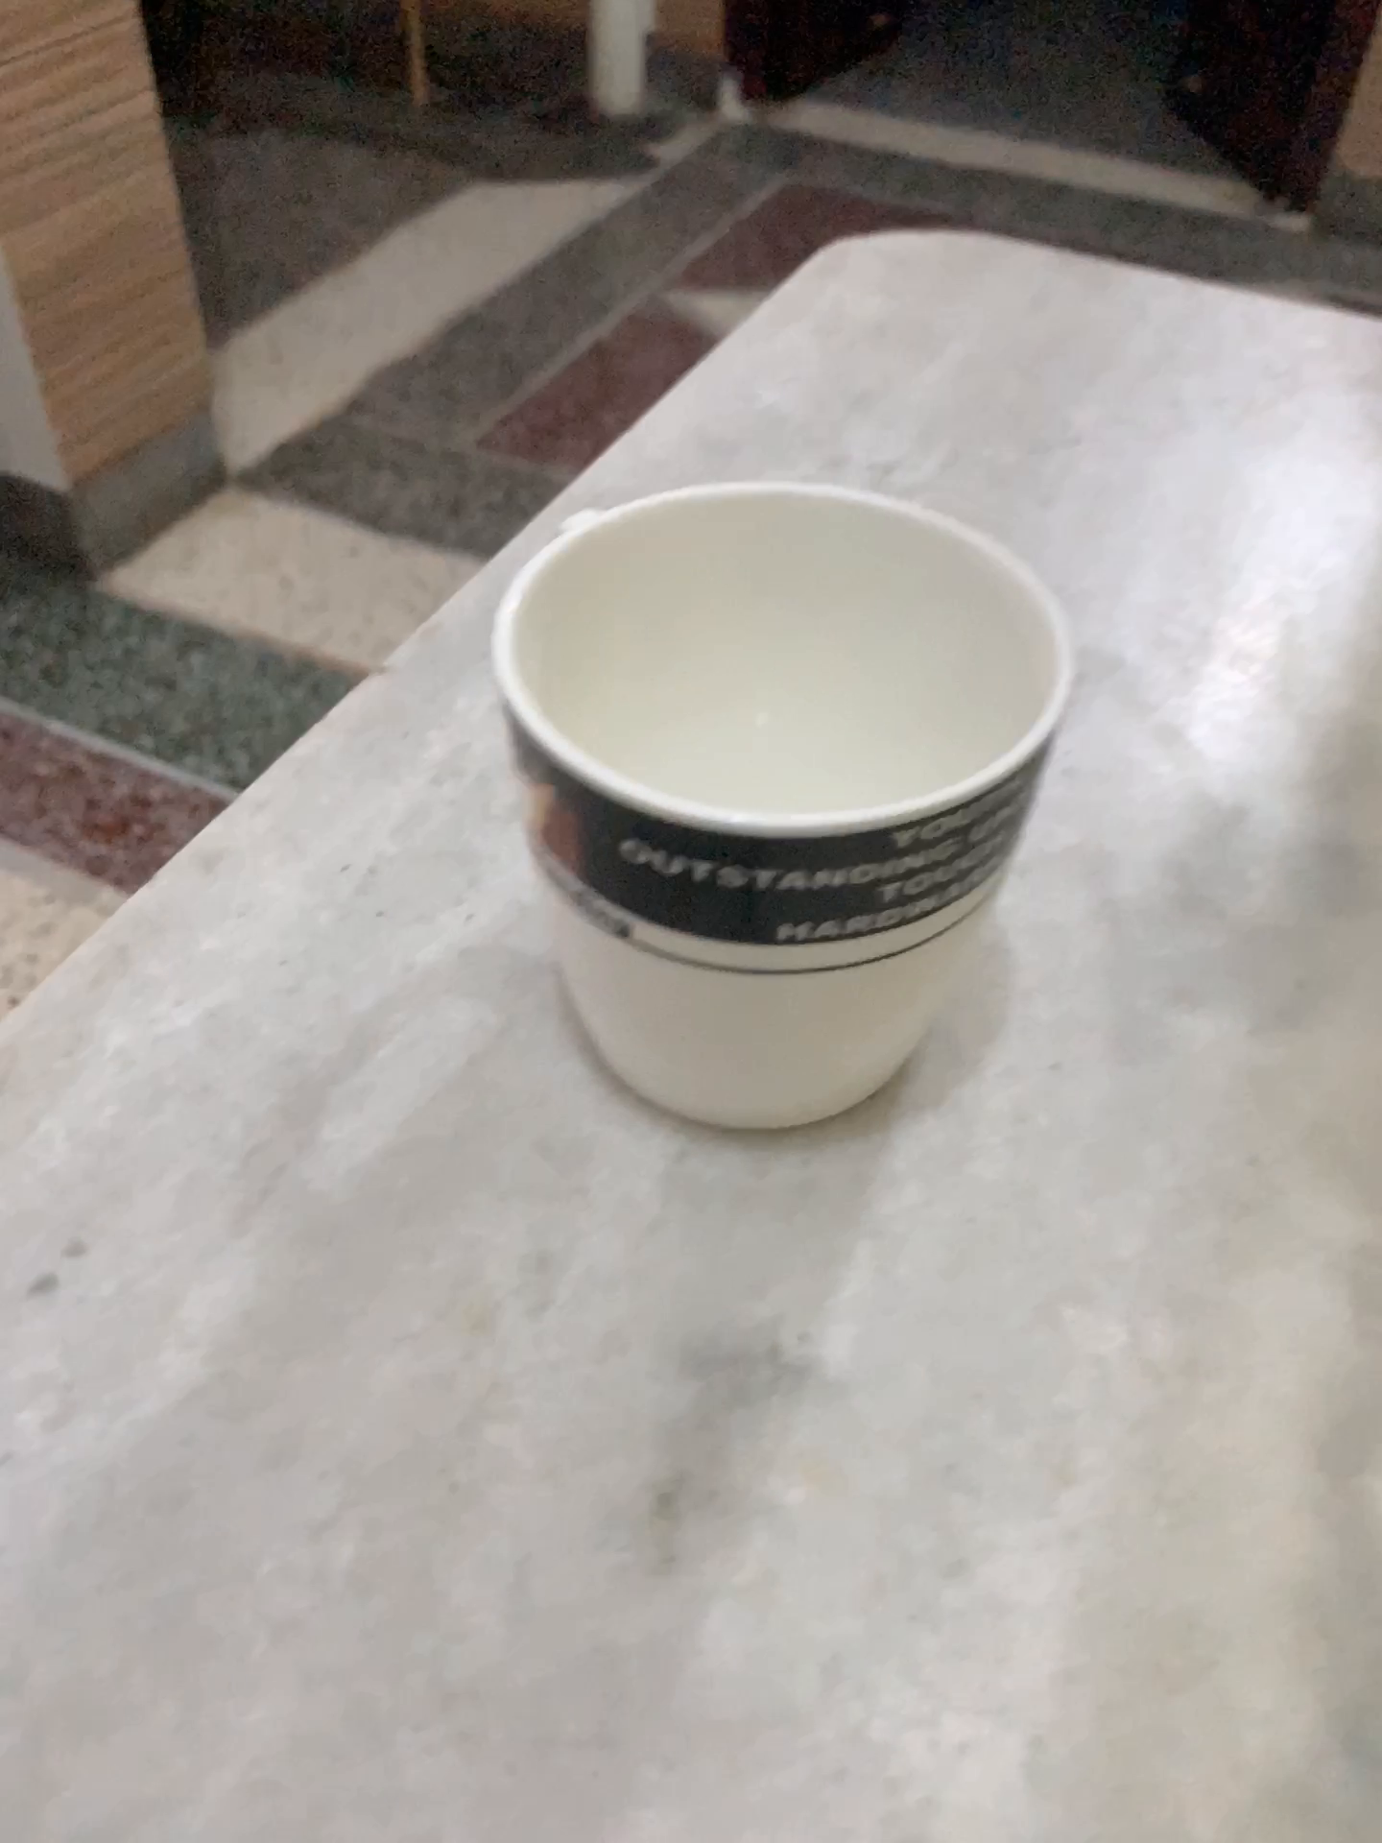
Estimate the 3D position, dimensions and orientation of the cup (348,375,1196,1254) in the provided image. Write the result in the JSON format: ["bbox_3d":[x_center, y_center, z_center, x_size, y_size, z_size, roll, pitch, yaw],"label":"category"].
[{"bbox_3d":[0.004,-0.019,0.195,0.070,0.060,0.090,-16,49,-16],"label":"cup"}]
